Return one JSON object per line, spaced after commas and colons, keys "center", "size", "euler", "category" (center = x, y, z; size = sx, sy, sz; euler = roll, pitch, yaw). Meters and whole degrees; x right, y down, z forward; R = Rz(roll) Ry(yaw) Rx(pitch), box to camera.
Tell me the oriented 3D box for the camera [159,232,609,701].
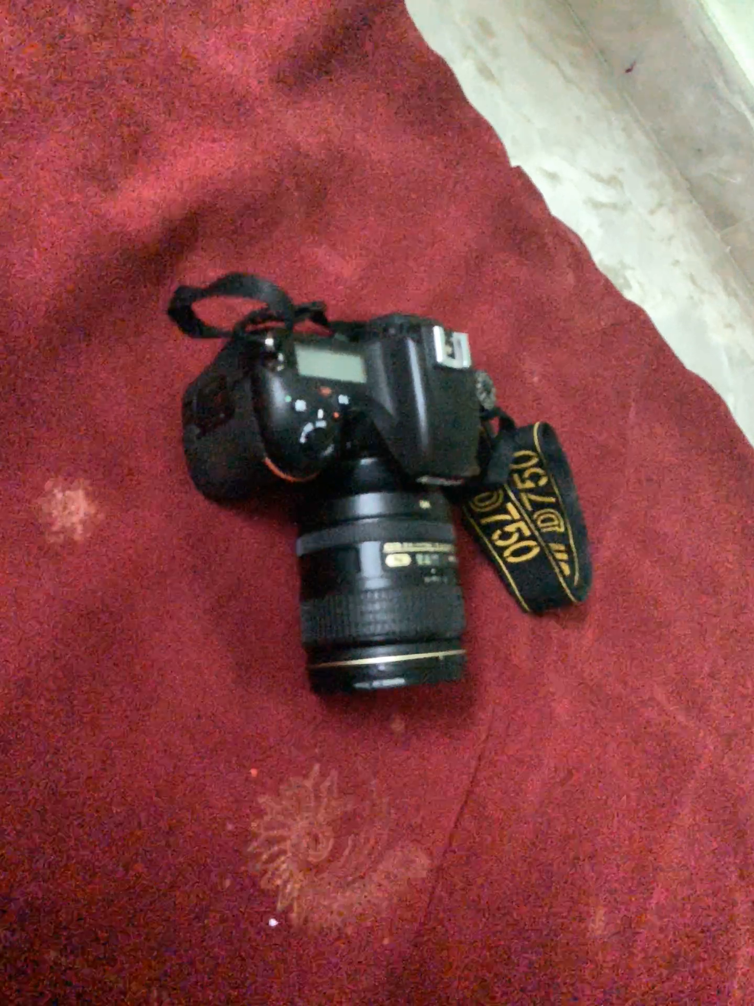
{"center": [-0.001, -0.004, 0.345], "size": [0.151, 0.110, 0.160], "euler": [2, 75, -38], "category": "camera"}
